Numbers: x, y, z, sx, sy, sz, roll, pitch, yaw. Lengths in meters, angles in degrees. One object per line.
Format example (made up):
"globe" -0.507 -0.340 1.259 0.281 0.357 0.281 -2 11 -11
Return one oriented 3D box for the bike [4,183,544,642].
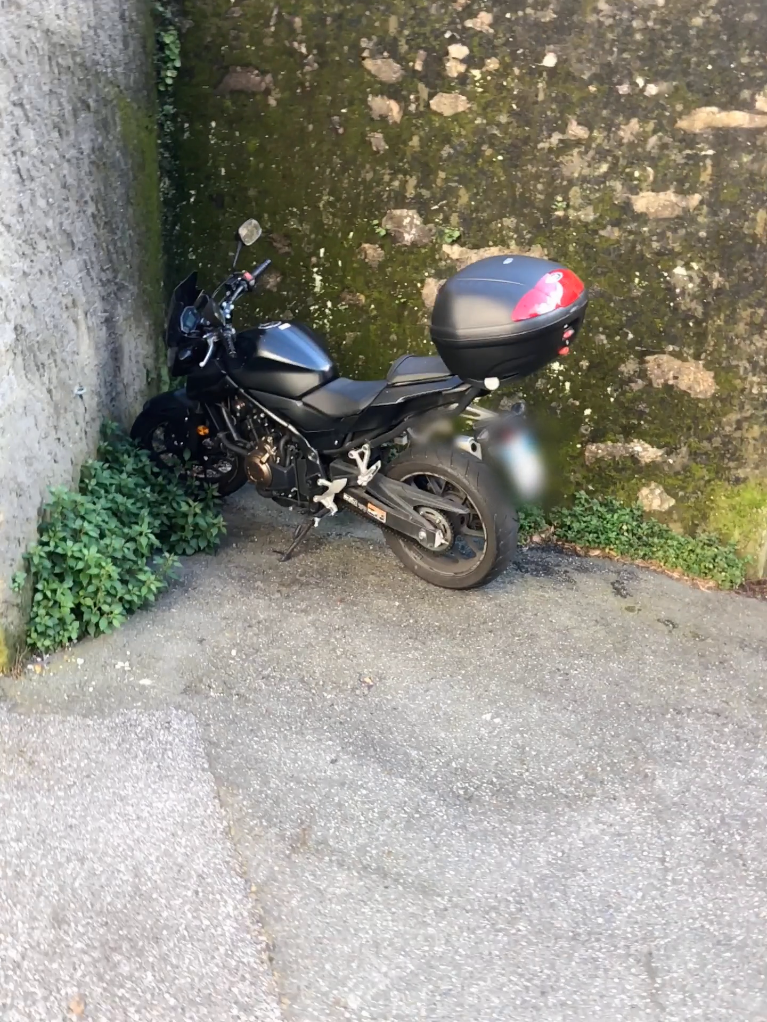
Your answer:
"bike" -0.422 -0.468 3.269 1.784 1.199 0.713 15 20 22
